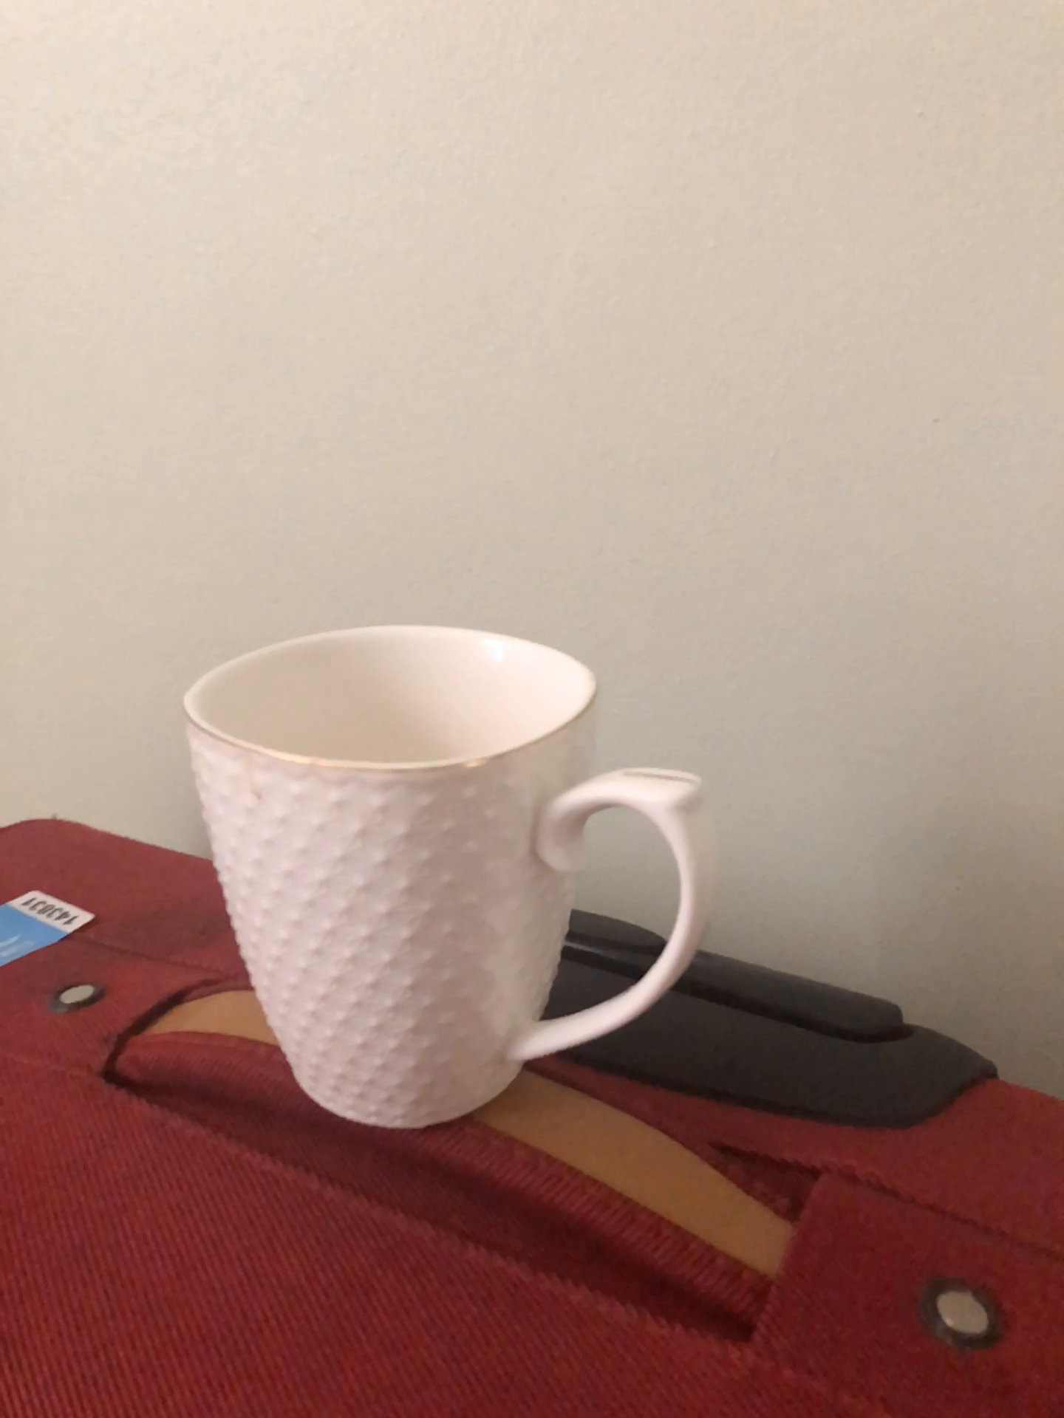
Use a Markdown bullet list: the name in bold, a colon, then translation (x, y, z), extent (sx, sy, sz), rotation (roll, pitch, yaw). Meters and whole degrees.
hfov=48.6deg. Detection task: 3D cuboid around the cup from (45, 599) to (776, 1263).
- **cup**: translation (-0.016, 0.033, 0.230), extent (0.112, 0.084, 0.075), rotation (6, 24, 19)
